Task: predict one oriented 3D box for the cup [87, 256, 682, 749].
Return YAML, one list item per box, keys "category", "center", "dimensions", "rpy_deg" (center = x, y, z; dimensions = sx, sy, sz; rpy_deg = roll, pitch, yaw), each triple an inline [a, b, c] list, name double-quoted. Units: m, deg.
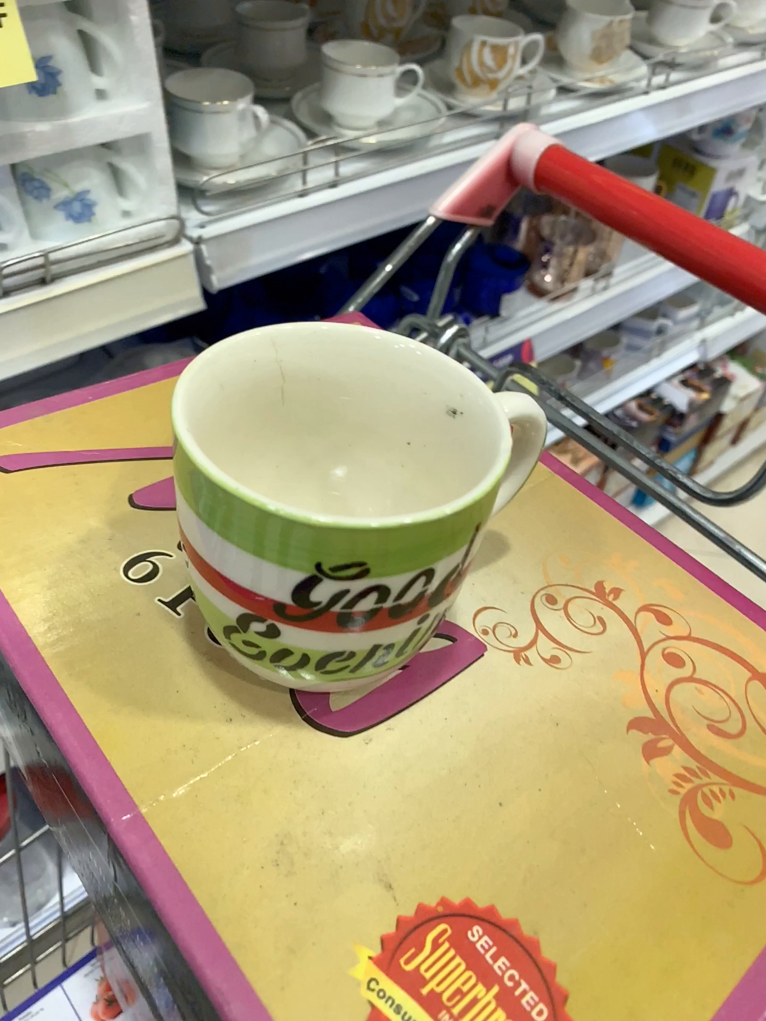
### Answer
- category: "cup"
  center: [-0.002, -0.012, 0.200]
  dimensions: [0.110, 0.060, 0.080]
  rpy_deg: [-20, 47, -28]
